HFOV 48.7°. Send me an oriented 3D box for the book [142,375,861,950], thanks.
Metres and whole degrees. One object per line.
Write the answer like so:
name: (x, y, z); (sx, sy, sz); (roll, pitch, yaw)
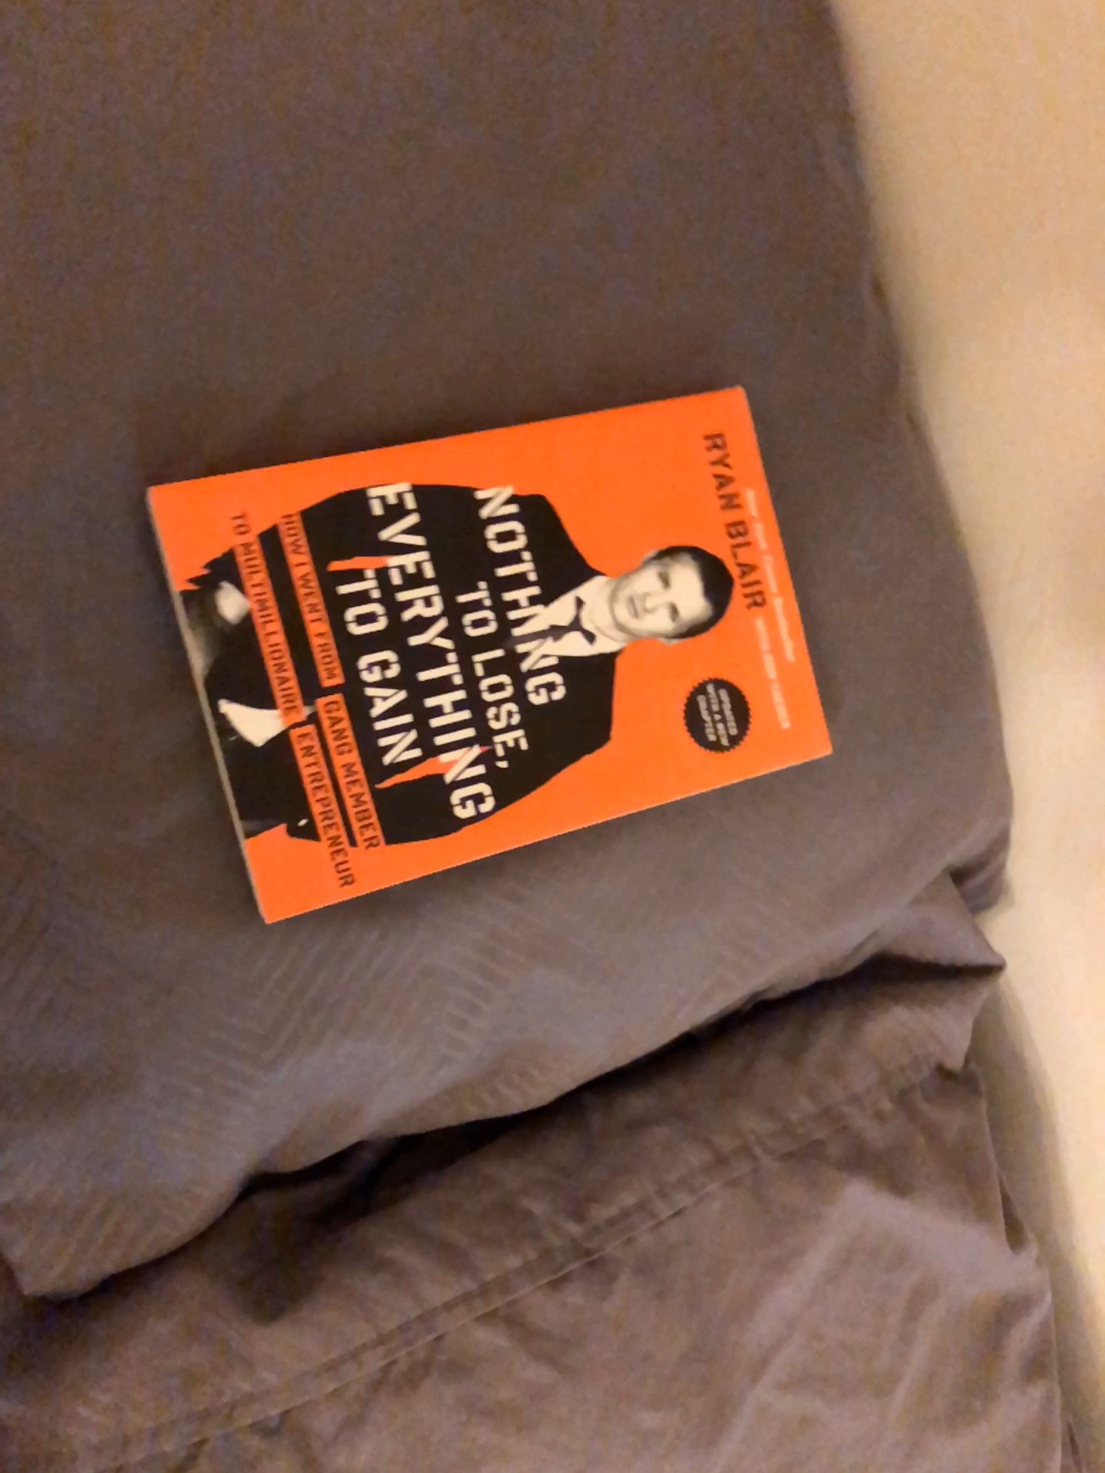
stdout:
book: (-0.007, -0.034, 0.429); (0.230, 0.020, 0.150); (-15, 95, -21)
